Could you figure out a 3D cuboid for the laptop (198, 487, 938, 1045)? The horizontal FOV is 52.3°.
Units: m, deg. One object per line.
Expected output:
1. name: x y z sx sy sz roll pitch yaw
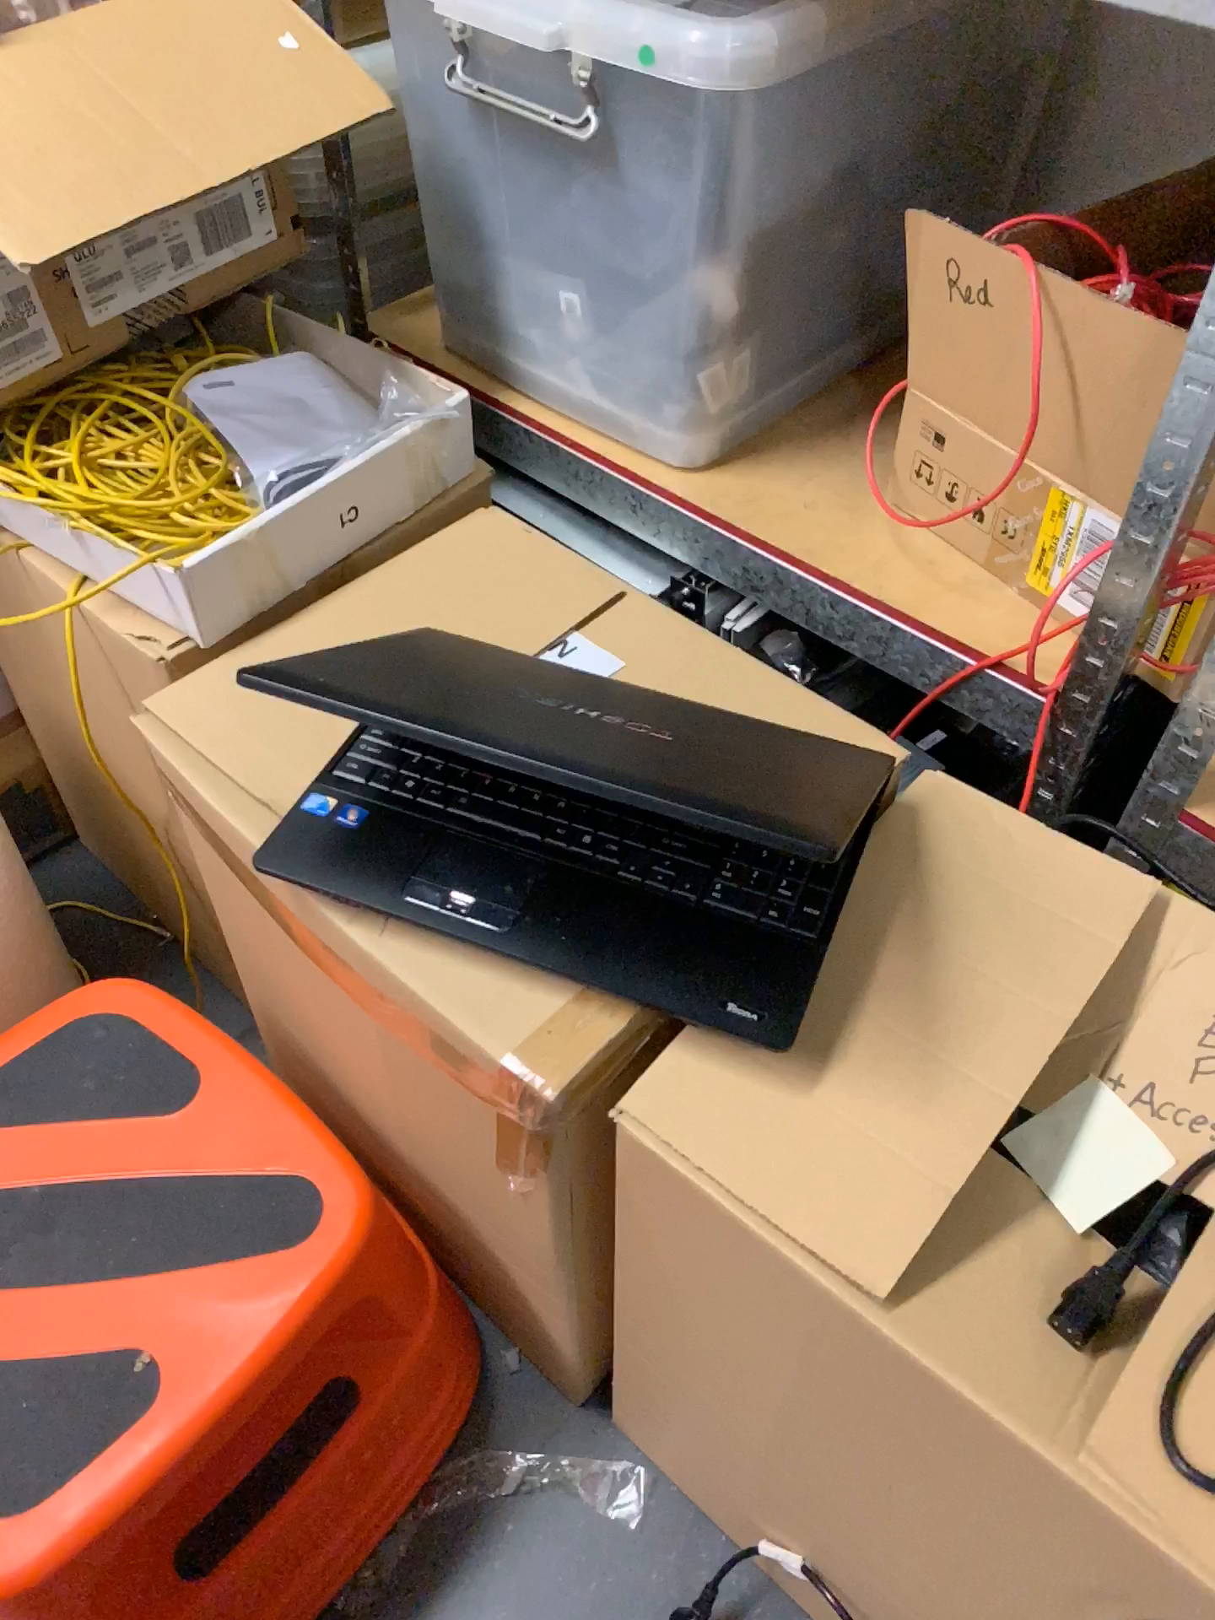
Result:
1. laptop: -0.015 -0.040 0.769 0.354 0.135 0.232 17 52 13
